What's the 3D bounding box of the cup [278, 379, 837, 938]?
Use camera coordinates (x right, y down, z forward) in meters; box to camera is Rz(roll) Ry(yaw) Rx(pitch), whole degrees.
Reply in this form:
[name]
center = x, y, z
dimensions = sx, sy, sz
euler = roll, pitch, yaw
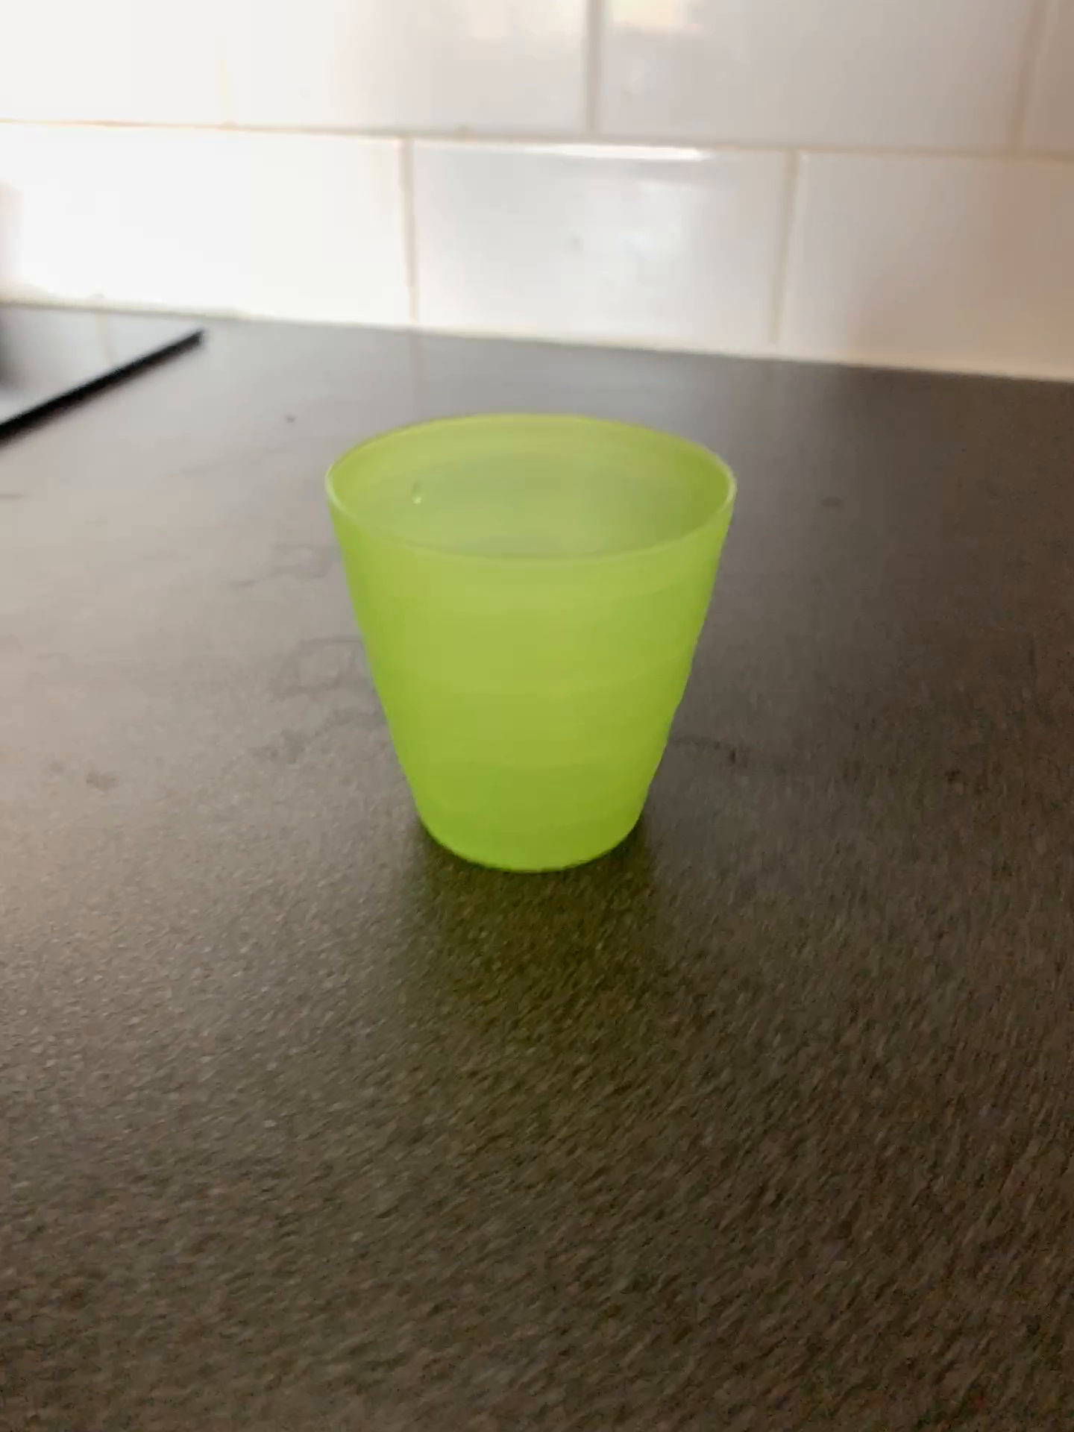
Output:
[cup]
center = -0.001, -0.018, 0.245
dimensions = 0.089, 0.080, 0.078
euler = -10, 35, -17
